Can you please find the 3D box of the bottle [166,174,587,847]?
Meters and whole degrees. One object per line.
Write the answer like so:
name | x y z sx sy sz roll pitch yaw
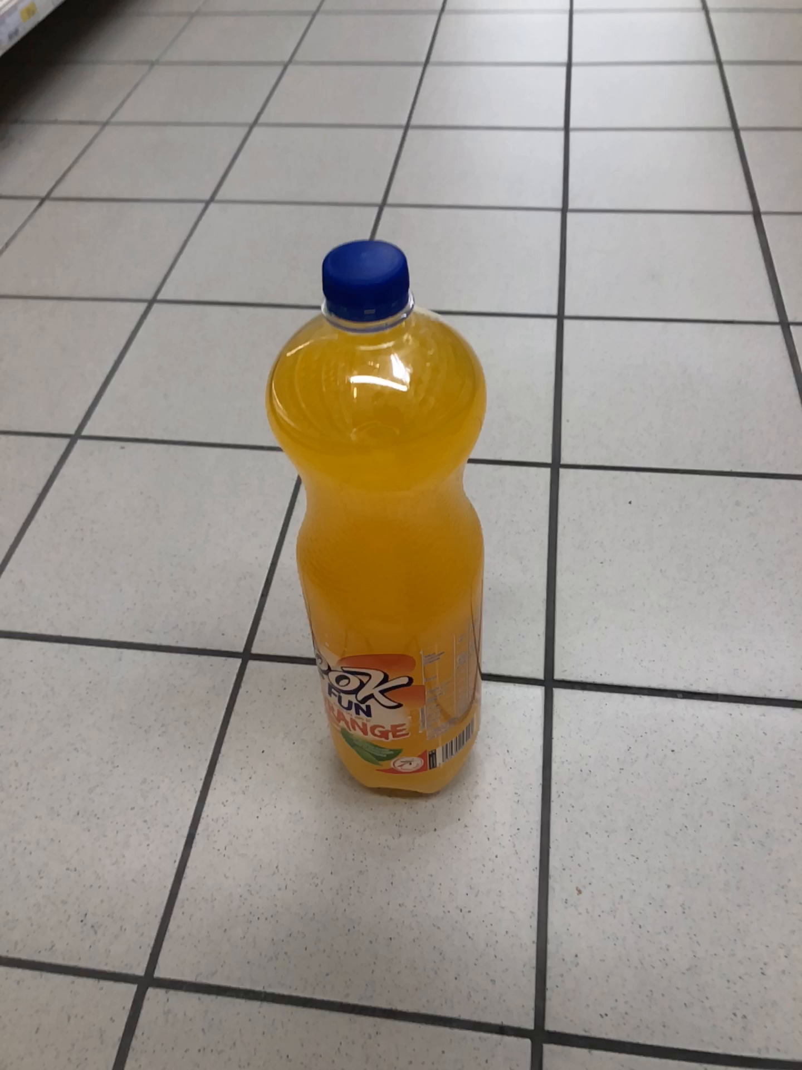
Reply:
bottle | -0.003 0.011 0.414 0.100 0.298 0.110 -2 47 2
